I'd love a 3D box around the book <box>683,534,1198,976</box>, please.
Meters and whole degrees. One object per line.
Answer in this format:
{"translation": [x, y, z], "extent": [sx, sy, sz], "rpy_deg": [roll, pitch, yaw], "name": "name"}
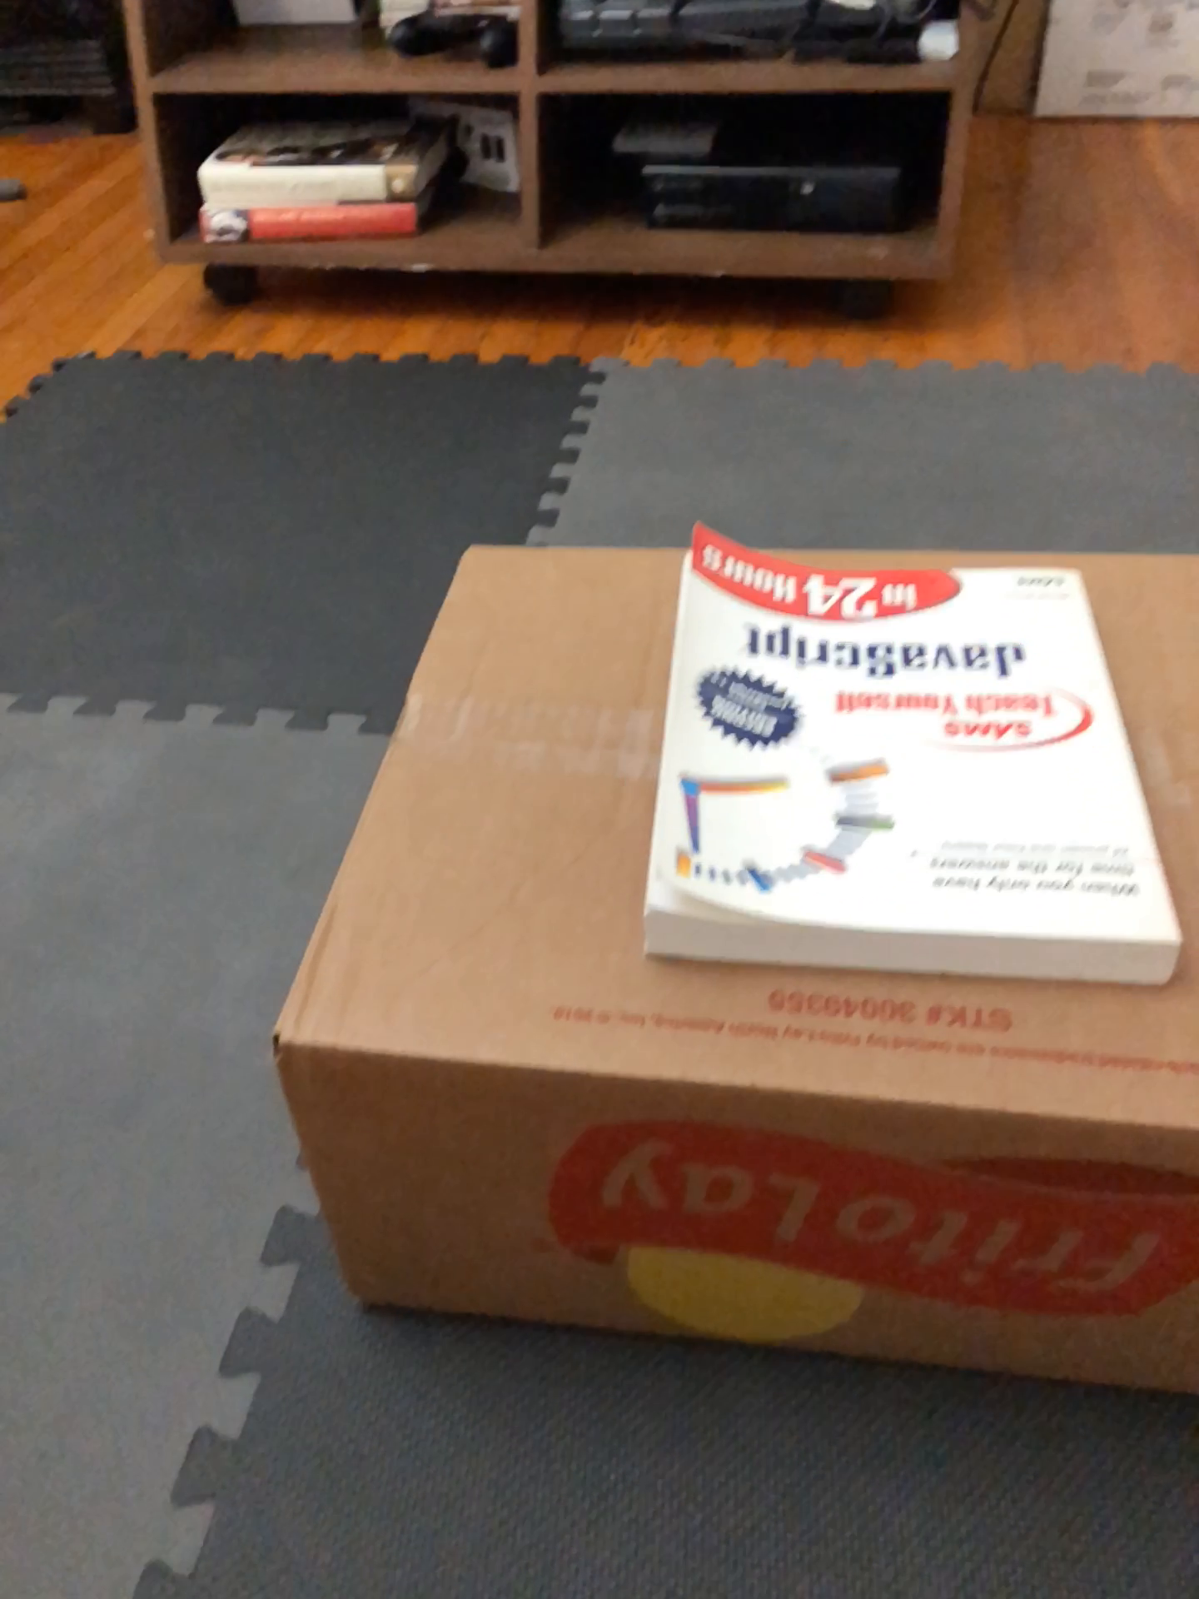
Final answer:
{"translation": [0.142, -0.033, 0.557], "extent": [0.200, 0.030, 0.241], "rpy_deg": [1, 44, 7], "name": "book"}
